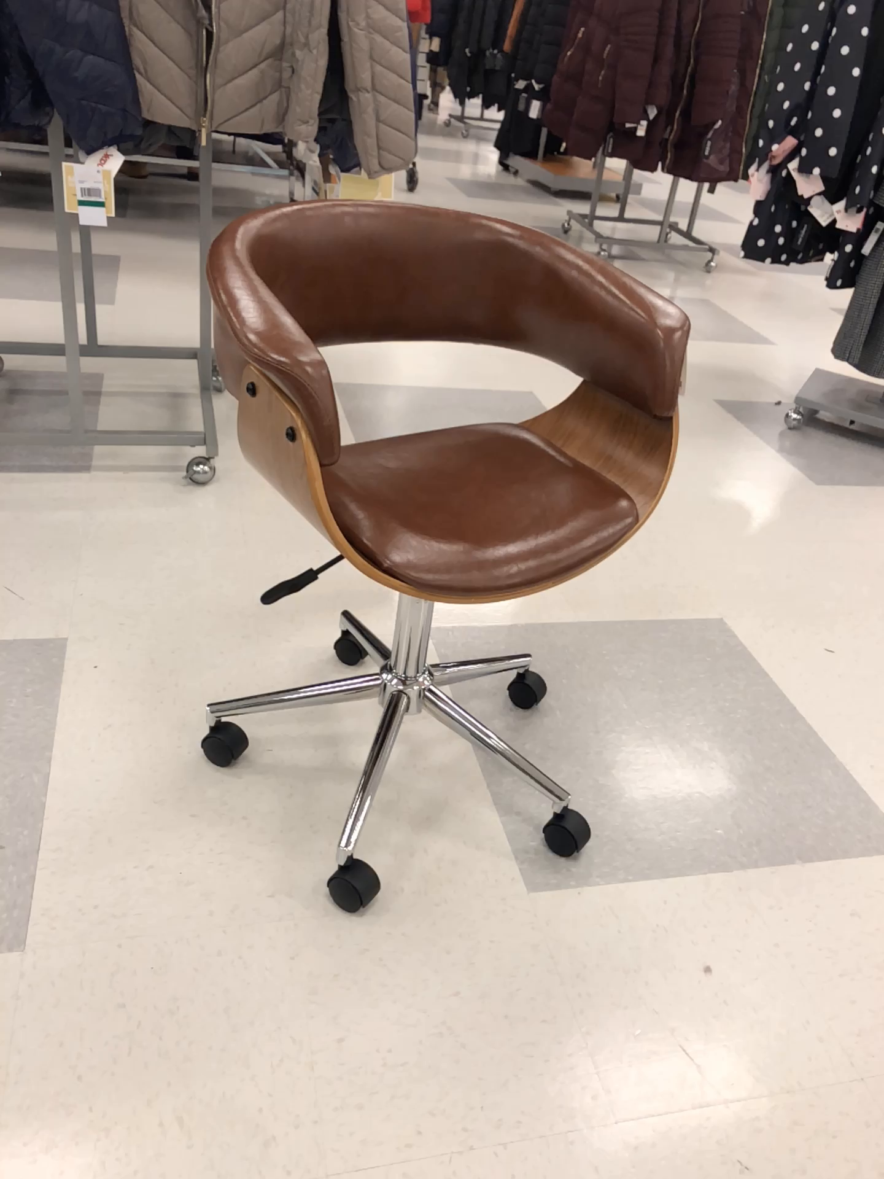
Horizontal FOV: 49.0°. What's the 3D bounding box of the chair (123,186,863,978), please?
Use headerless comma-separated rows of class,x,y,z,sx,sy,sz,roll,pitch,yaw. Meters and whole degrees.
chair,-0.013,-0.079,1.264,0.590,0.696,0.628,-12,36,-31
